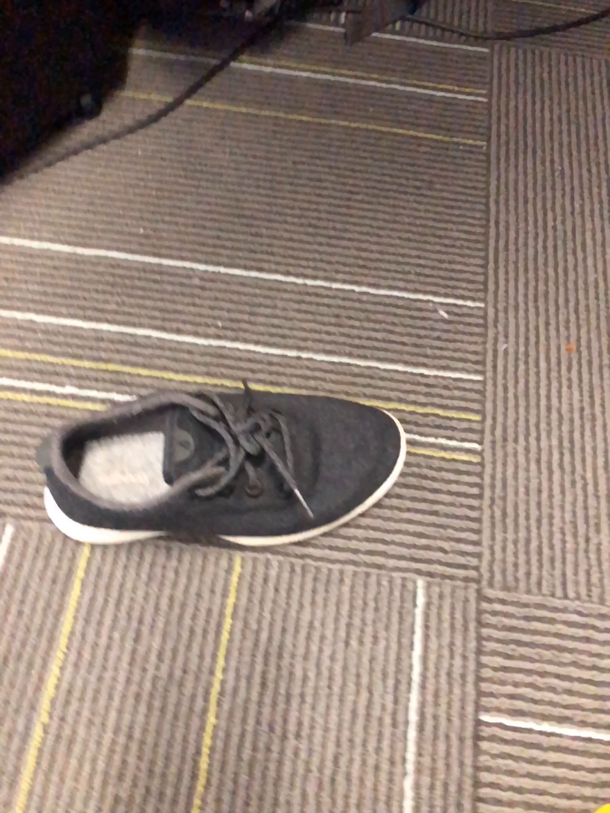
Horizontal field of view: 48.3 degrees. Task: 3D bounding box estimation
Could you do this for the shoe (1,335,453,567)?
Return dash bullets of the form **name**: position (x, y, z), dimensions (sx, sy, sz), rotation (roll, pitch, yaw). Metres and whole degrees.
- **shoe**: position (-0.051, 0.030, 0.464), dimensions (0.270, 0.070, 0.120), rotation (-4, 65, -5)
